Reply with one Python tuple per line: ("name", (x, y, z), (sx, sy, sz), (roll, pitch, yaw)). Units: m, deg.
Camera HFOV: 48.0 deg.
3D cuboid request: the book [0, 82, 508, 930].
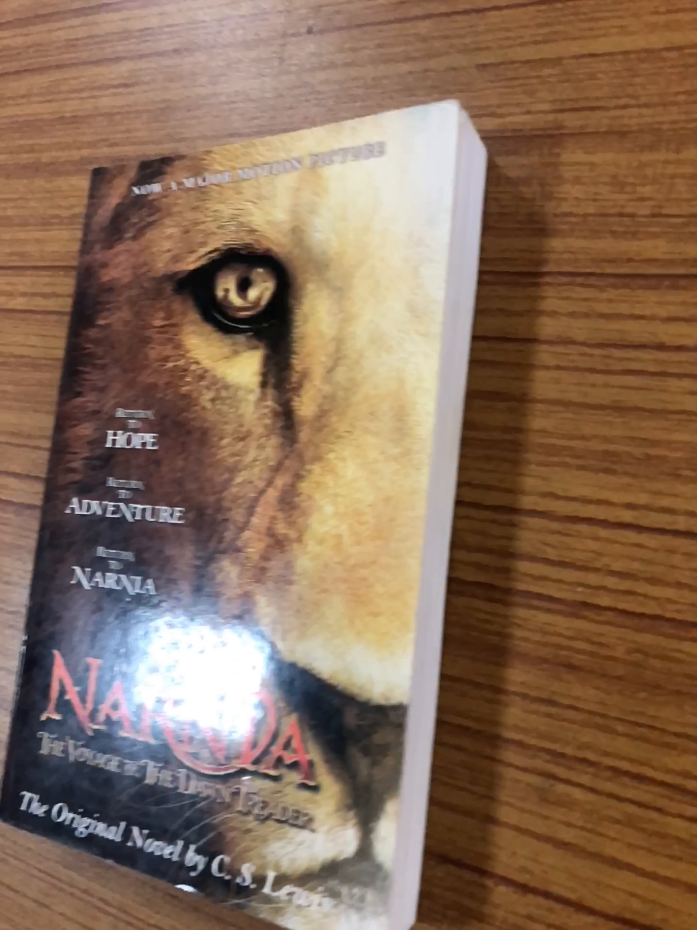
("book", (-0.030, 0.006, 0.198), (0.120, 0.030, 0.180), (3, 84, 26))
